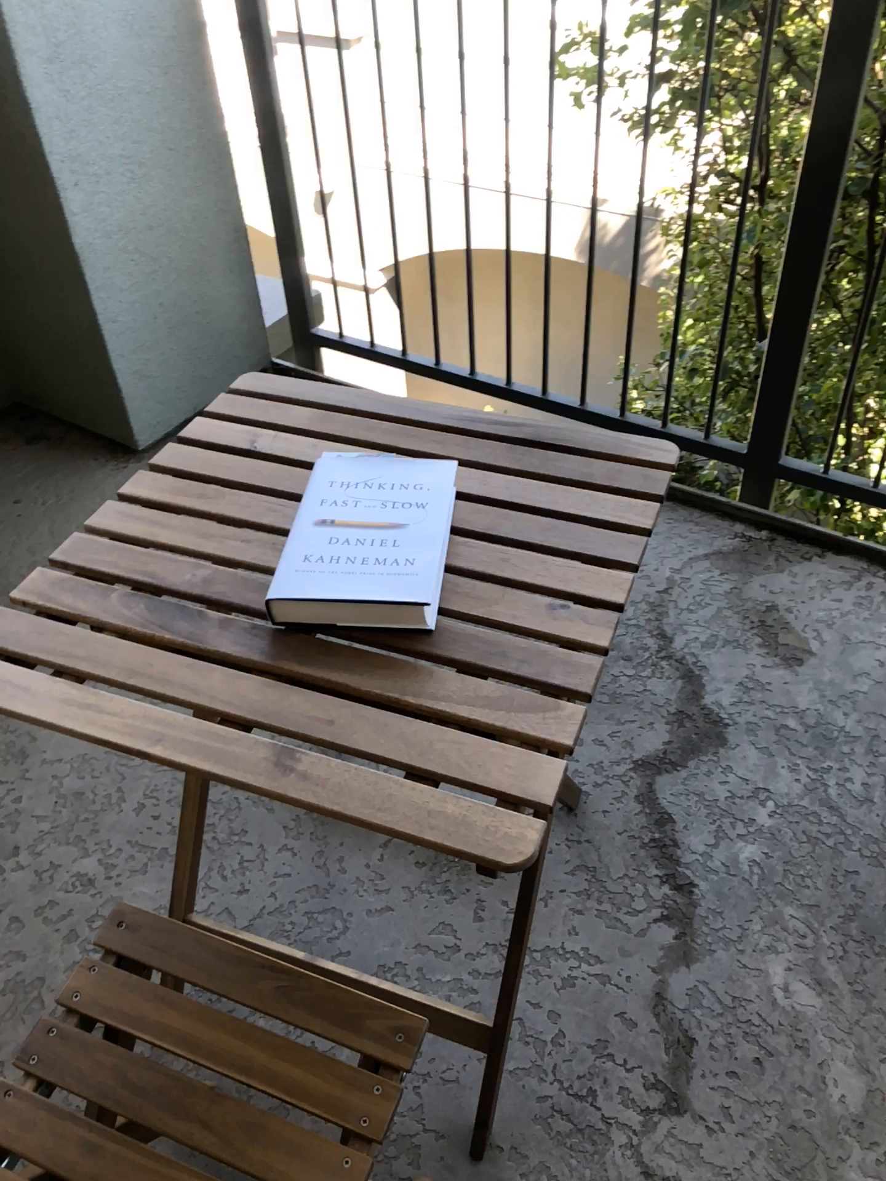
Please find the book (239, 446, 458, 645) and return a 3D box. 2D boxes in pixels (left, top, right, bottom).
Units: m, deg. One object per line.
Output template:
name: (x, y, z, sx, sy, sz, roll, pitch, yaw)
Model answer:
book: (-0.086, -0.054, 1.006, 0.180, 0.060, 0.241, 2, 42, 6)
